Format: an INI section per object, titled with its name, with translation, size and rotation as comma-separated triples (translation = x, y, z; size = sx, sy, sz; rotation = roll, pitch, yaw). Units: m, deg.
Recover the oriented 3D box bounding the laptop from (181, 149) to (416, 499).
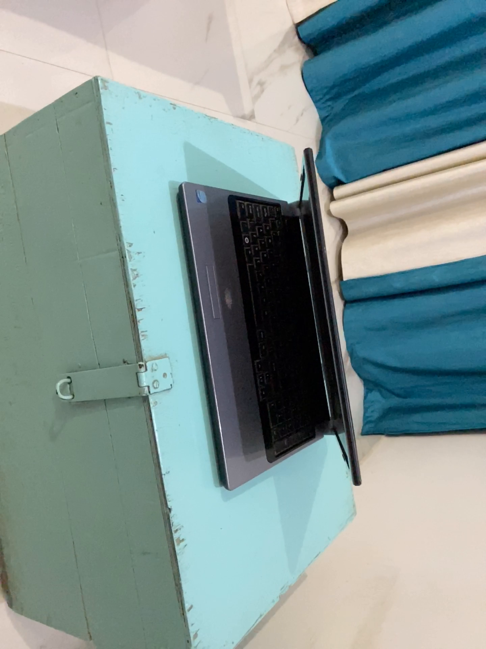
[laptop]
translation = 0.092, -0.004, 0.689
size = 0.262, 0.152, 0.387
rotation = -10, 91, -53
